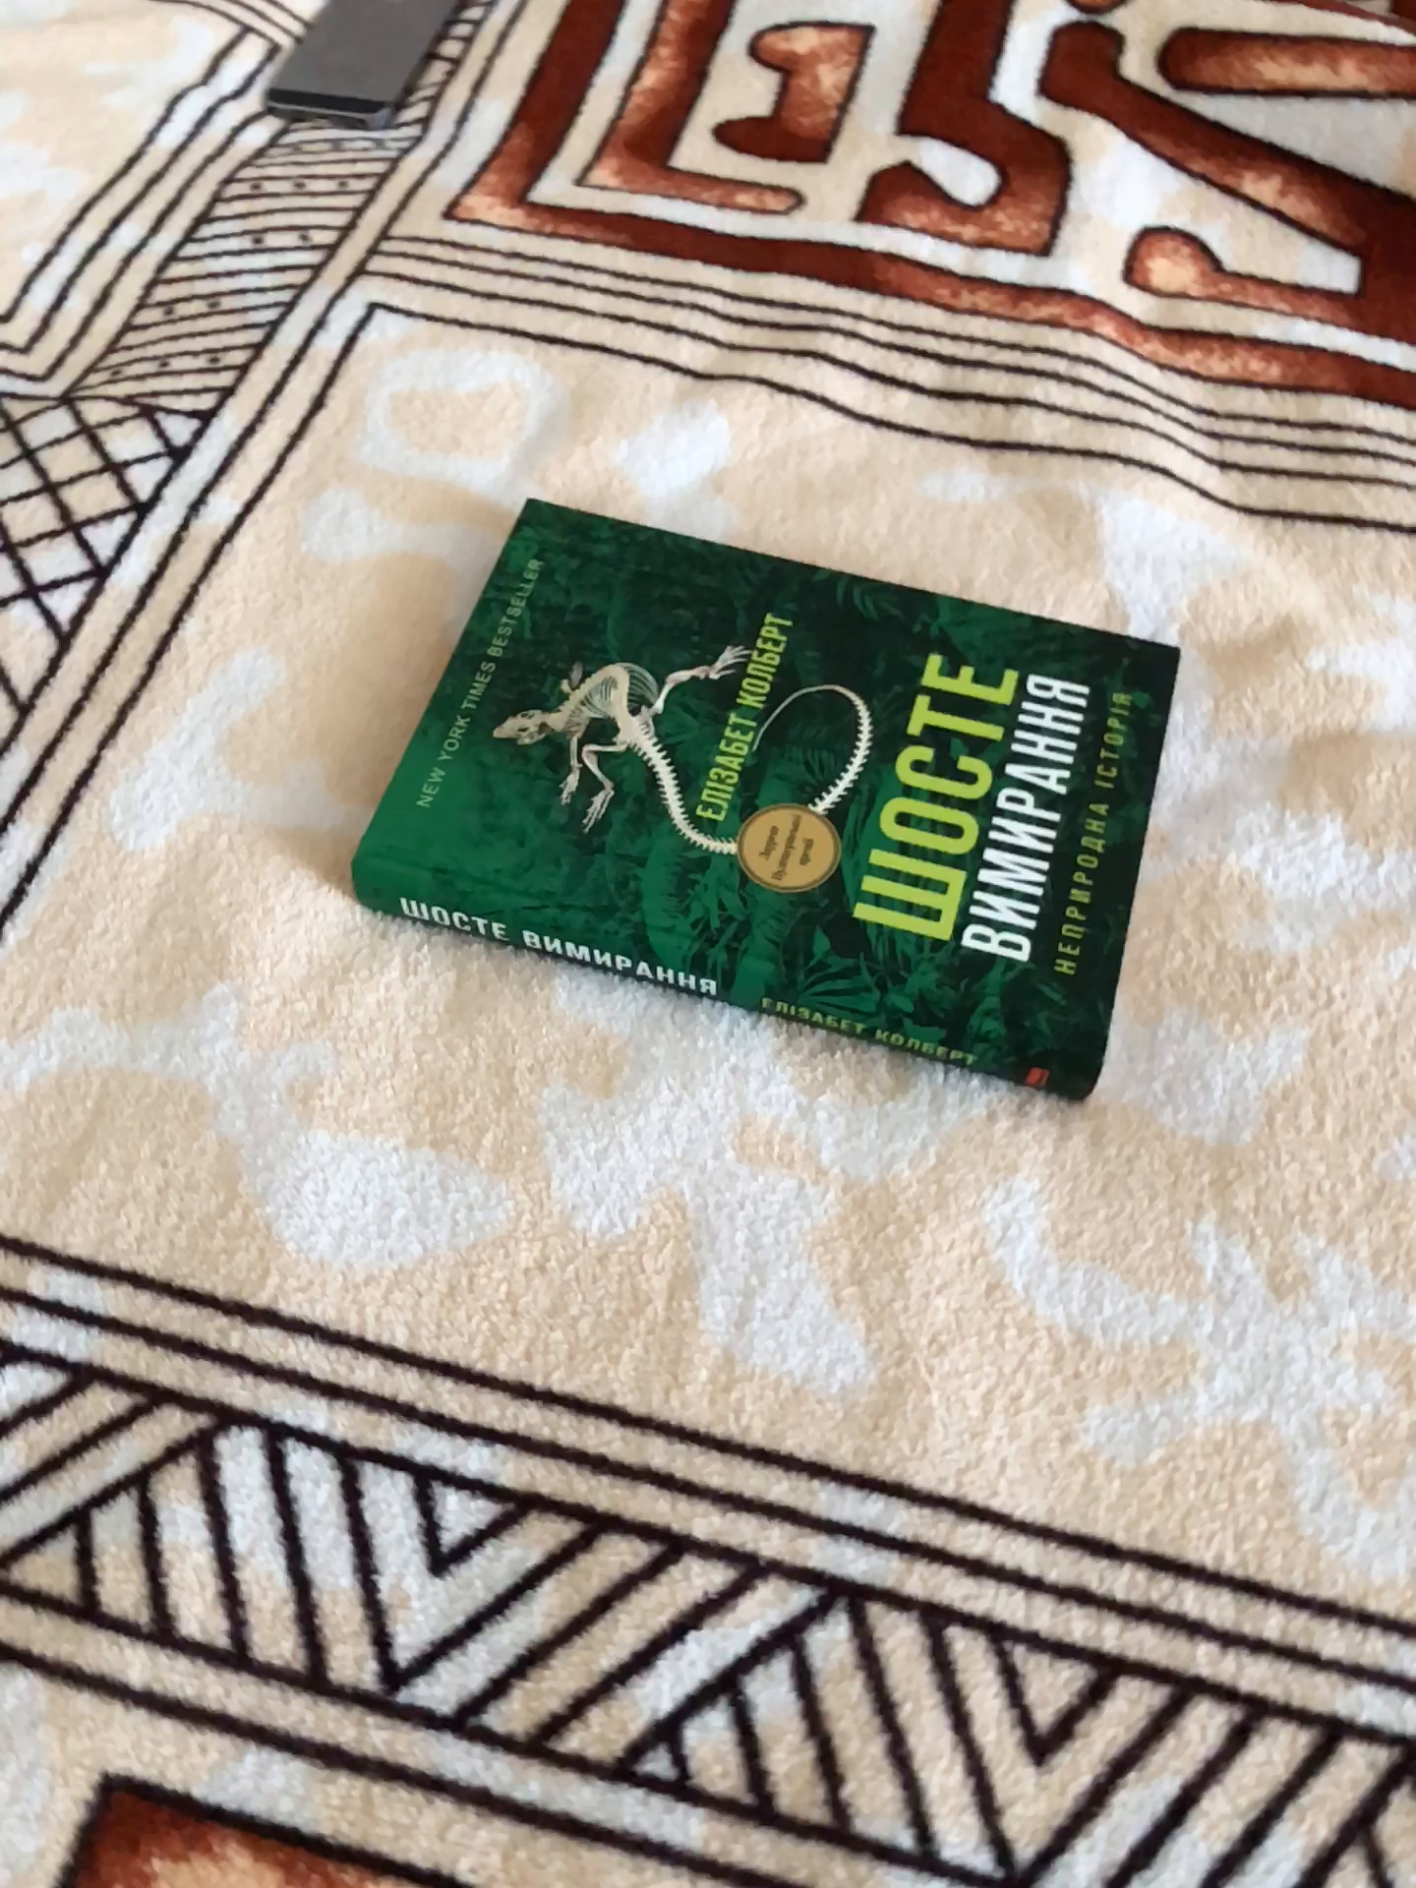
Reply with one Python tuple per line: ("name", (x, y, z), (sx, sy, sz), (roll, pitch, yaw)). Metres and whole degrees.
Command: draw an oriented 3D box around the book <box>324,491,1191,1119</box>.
("book", (0.020, -0.049, 0.467), (0.220, 0.030, 0.150), (14, 62, 8))
